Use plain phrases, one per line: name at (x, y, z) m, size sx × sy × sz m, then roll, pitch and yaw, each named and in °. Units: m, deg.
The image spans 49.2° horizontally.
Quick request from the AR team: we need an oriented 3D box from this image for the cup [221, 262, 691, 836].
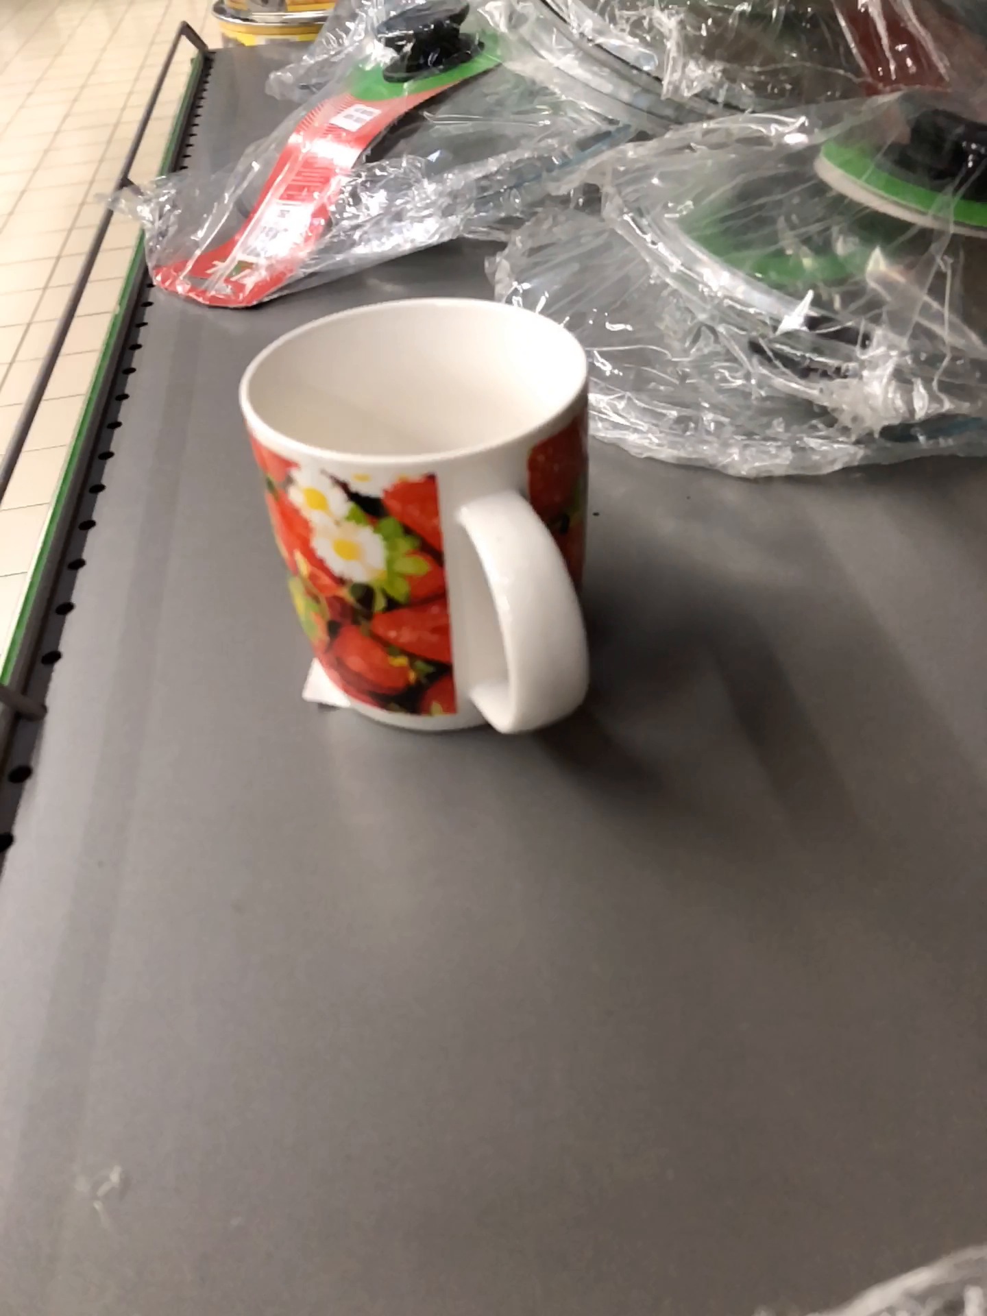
cup at (-0.015, -0.037, 0.287) m, size 0.090 × 0.078 × 0.129 m, roll -13°, pitch 41°, yaw -7°
